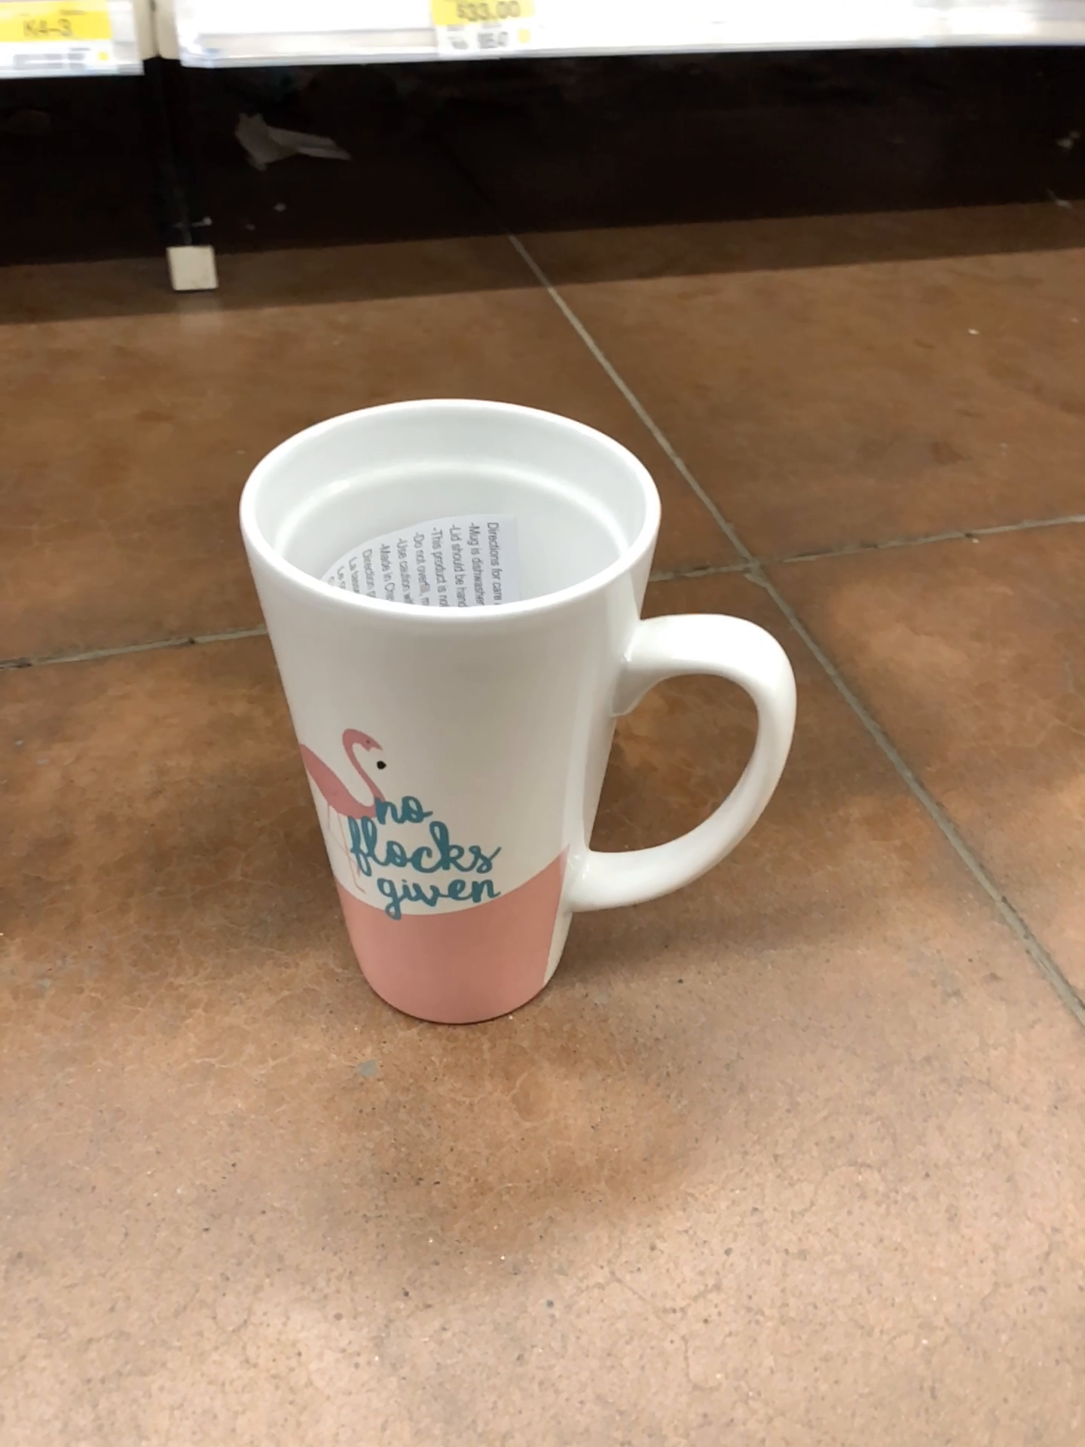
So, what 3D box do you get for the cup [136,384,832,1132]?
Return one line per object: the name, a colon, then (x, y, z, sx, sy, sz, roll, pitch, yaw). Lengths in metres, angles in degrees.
cup: (-0.006, 0.008, 0.307, 0.130, 0.139, 0.100, 9, 40, 9)
